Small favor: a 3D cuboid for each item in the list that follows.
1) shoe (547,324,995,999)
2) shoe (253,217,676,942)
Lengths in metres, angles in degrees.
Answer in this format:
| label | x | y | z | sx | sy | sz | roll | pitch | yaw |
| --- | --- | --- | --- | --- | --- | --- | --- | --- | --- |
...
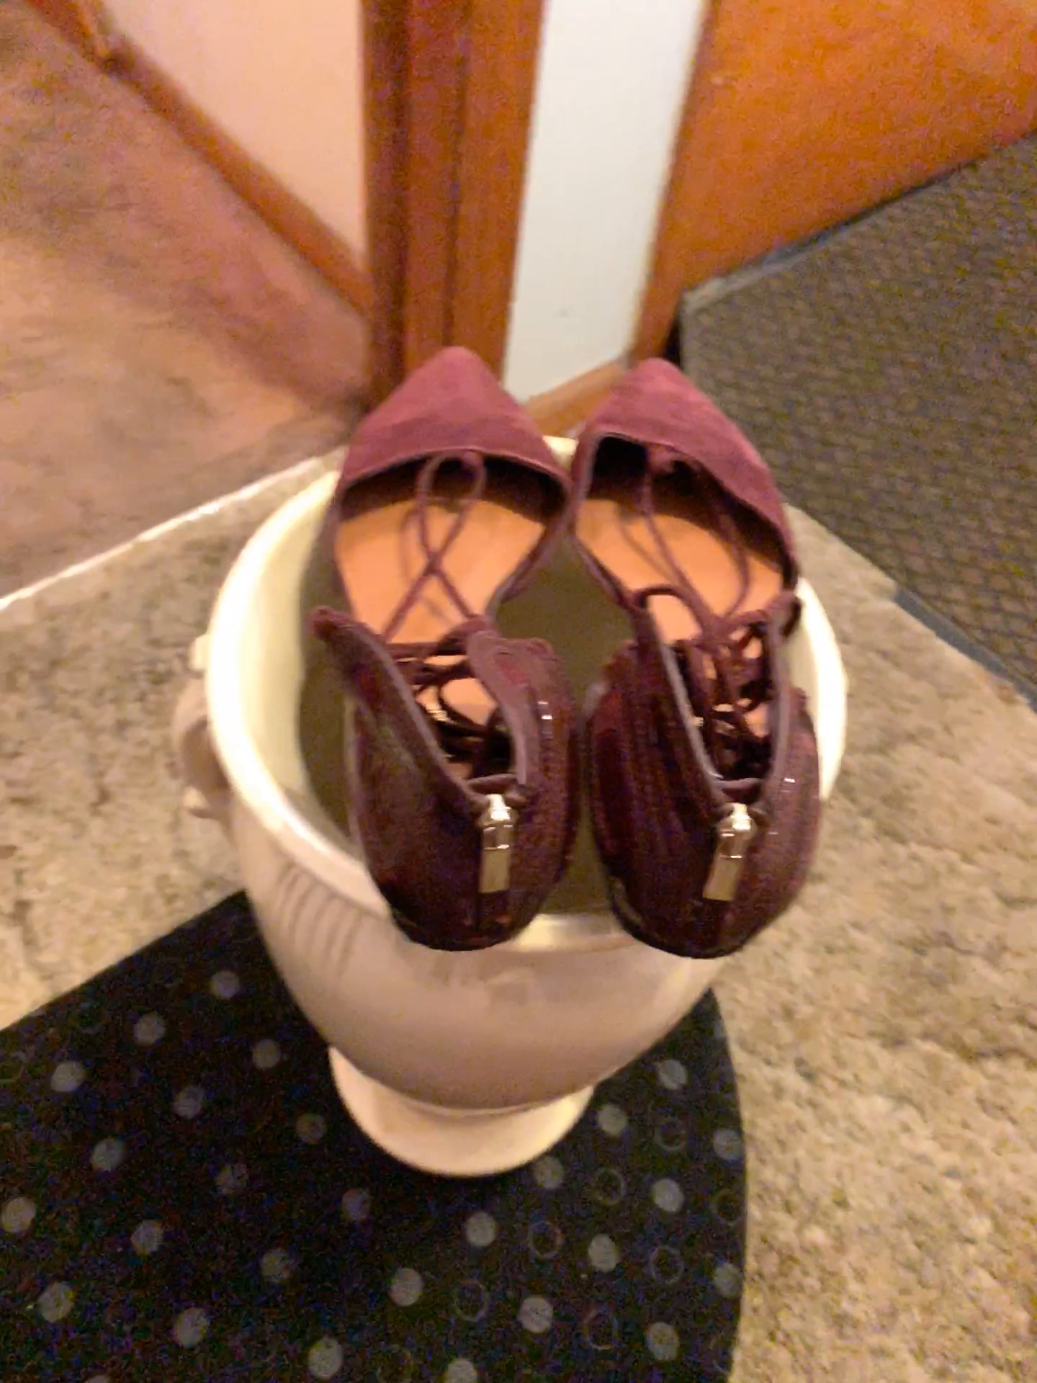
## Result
| label | x | y | z | sx | sy | sz | roll | pitch | yaw |
| --- | --- | --- | --- | --- | --- | --- | --- | --- | --- |
| shoe | 0.060 | -0.037 | 0.371 | 0.090 | 0.069 | 0.282 | 5 | 38 | -4 |
| shoe | -0.025 | -0.061 | 0.351 | 0.090 | 0.069 | 0.282 | 0 | 45 | -7 |
